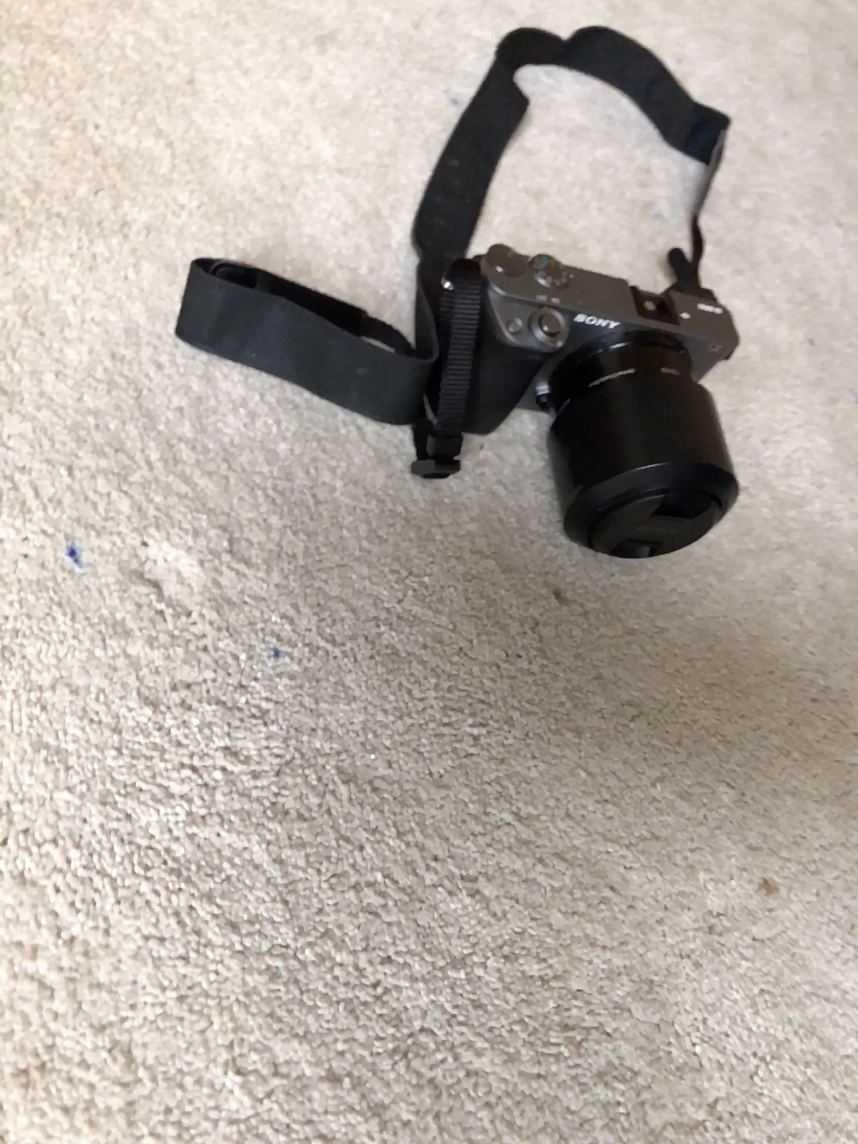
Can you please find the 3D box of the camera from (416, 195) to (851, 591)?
[{"bbox_3d":[0.077,-0.068,0.392,0.130,0.080,0.120,4,60,-23],"label":"camera"}]
